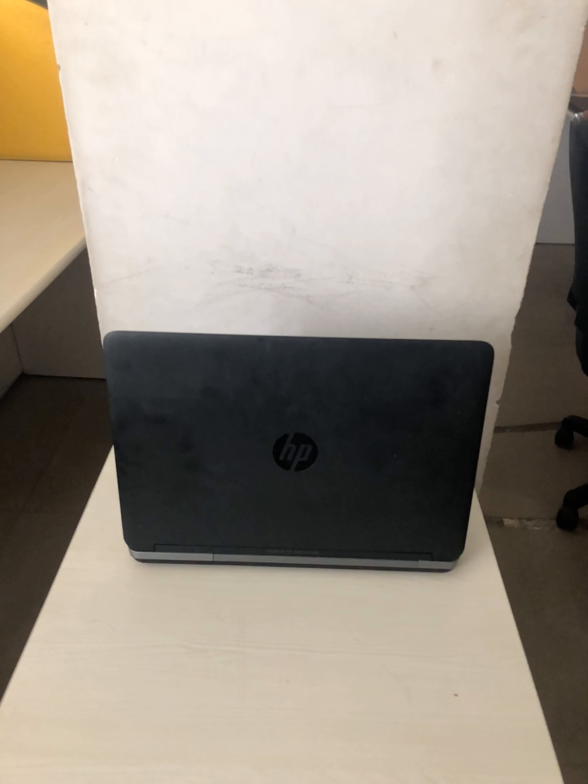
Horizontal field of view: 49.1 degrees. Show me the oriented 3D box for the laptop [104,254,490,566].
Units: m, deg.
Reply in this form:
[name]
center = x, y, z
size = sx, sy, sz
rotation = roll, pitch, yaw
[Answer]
[laptop]
center = 0.005, 0.014, 0.670
size = 0.317, 0.226, 0.205
rotation = 2, 34, 1
